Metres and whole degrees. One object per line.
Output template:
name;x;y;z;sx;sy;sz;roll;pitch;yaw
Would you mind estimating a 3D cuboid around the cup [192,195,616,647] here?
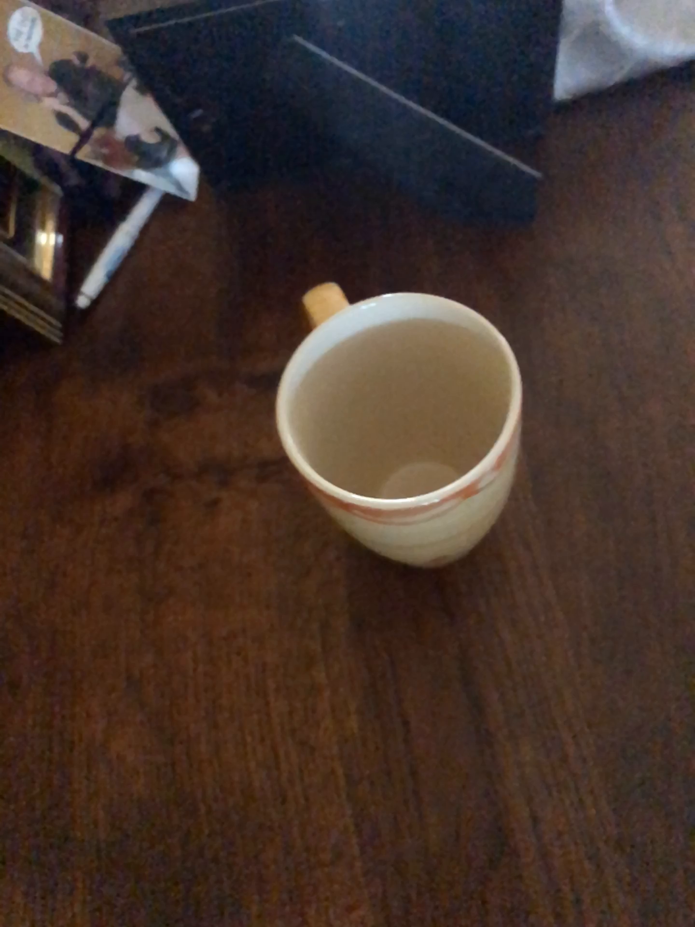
cup;0.023;-0.013;0.316;0.100;0.100;0.120;-33;63;-5
